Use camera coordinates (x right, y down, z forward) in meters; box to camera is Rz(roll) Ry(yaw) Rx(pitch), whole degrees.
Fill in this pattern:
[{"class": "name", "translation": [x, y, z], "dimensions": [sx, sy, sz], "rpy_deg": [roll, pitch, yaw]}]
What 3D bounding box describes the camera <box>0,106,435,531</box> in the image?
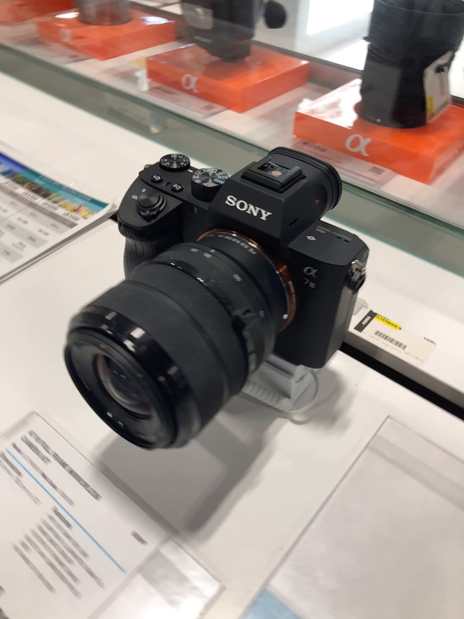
[{"class": "camera", "translation": [-0.011, -0.017, 0.249], "dimensions": [0.140, 0.079, 0.161], "rpy_deg": [29, 50, 26]}]
